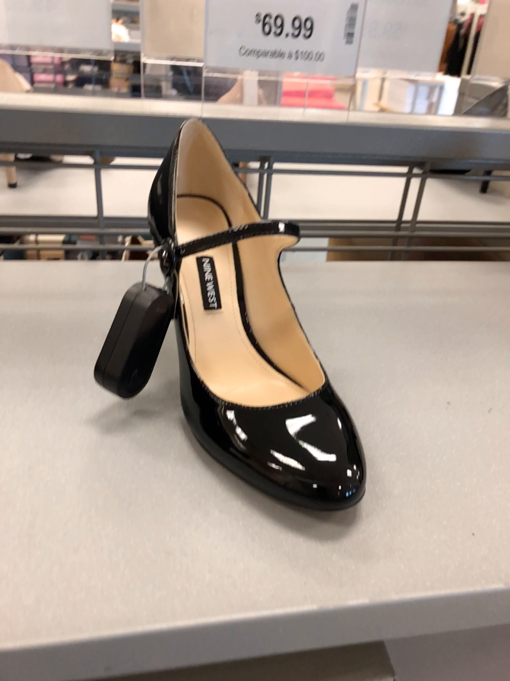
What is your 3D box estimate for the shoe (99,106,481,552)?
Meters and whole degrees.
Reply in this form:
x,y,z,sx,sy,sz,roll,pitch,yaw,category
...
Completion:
x,y,z,sx,sy,sz,roll,pitch,yaw,category
-0.013,-0.037,0.343,0.090,0.151,0.258,-11,35,-25,shoe
